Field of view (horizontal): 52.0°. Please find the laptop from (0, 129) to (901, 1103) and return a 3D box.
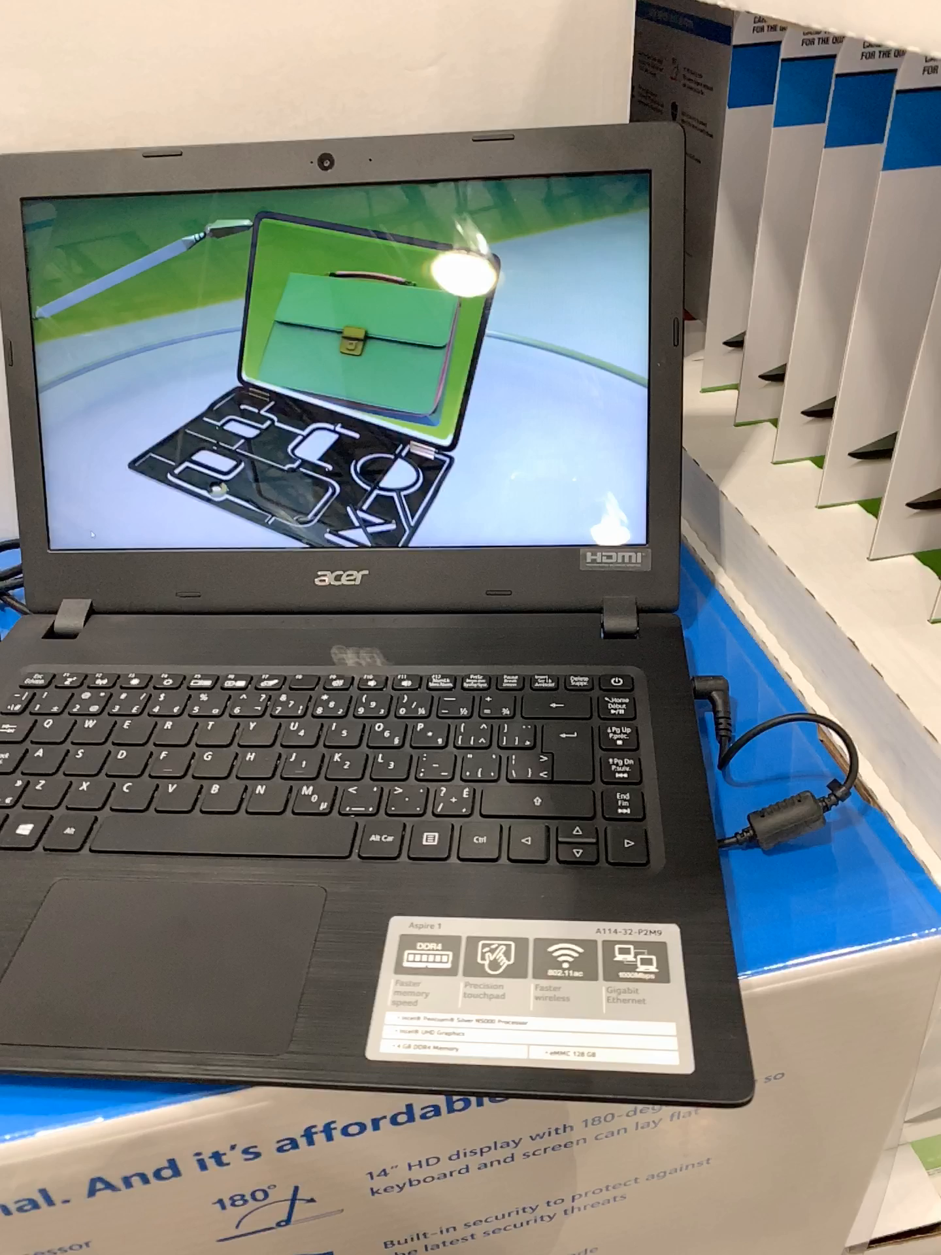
[{"bbox_3d":[-0.072,-0.043,0.357,0.318,0.186,0.329,0,37,6],"label":"laptop"}]
